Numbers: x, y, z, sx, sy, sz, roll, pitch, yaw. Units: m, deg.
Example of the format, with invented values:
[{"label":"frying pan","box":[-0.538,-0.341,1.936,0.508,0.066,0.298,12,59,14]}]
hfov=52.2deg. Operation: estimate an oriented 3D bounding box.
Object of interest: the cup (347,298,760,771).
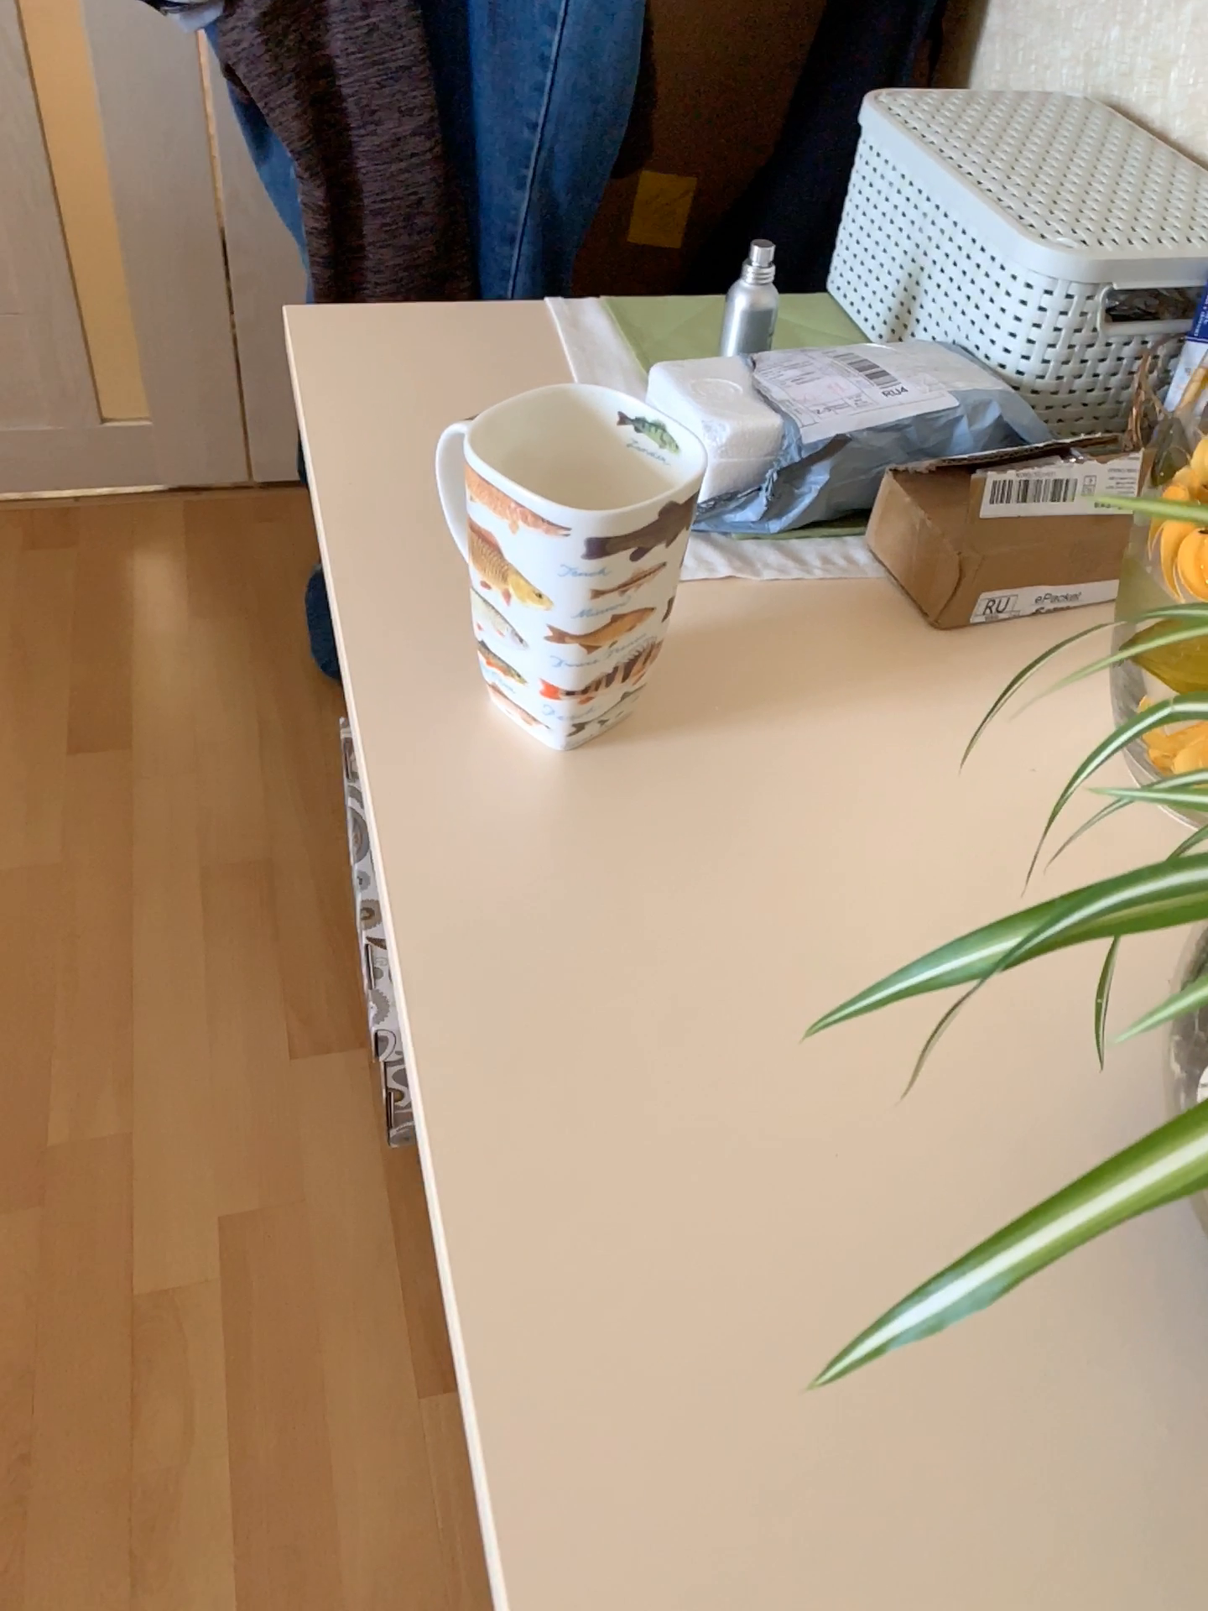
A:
[{"label":"cup","box":[-0.028,-0.122,0.543,0.100,0.129,0.141,-30,57,-31]}]
